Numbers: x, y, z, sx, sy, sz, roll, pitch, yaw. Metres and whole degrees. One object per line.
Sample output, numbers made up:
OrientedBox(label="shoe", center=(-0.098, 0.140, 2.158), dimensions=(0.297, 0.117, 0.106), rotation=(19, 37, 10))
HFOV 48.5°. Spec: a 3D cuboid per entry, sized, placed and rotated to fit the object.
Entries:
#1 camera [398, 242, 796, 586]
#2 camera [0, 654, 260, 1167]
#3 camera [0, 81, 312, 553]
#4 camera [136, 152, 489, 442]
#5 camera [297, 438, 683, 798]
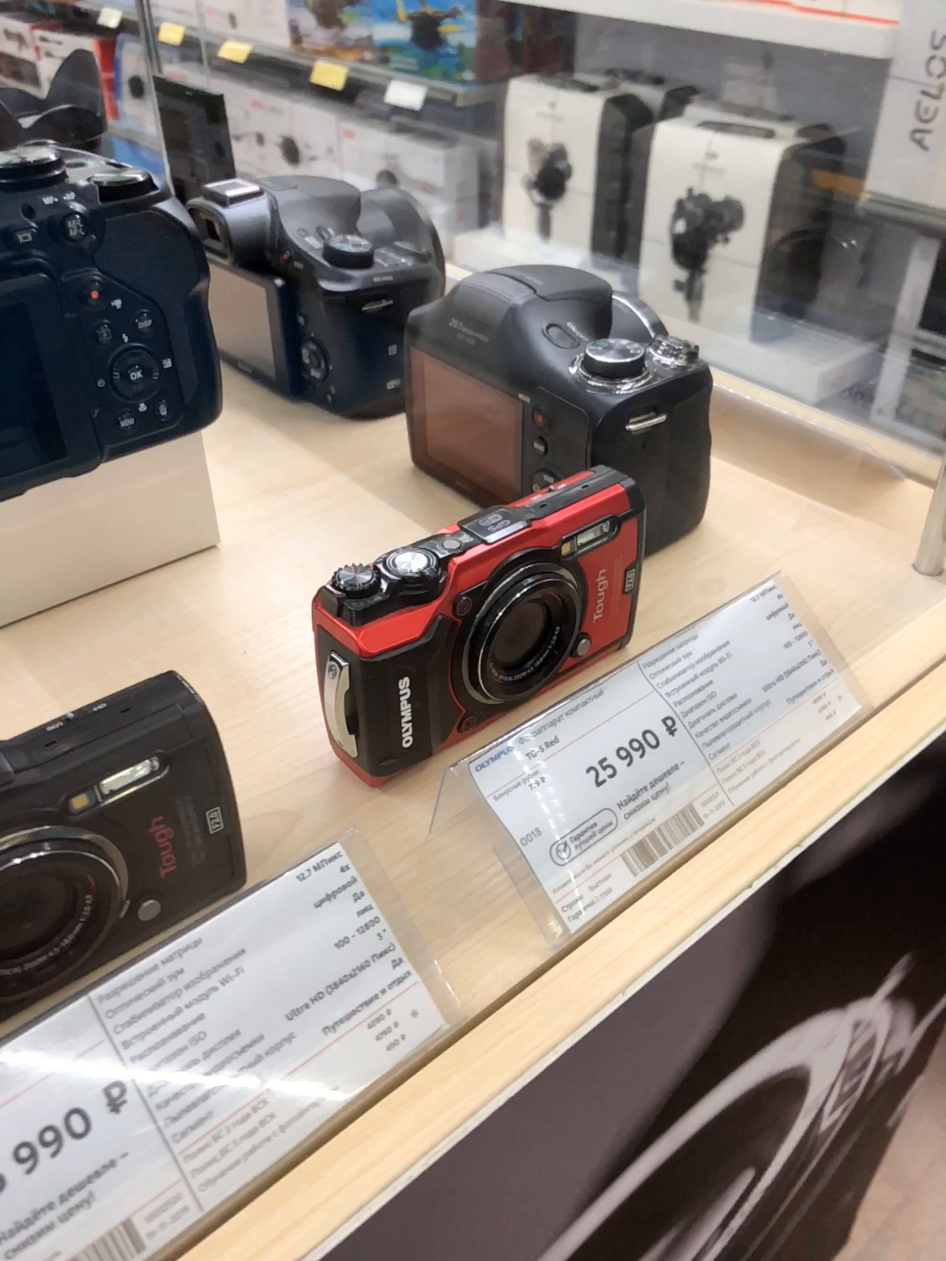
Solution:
OrientedBox(label="camera", center=(0.045, -0.092, 0.417), dimensions=(0.094, 0.078, 0.117), rotation=(-26, 44, -30))
OrientedBox(label="camera", center=(-0.112, 0.060, 0.244), dimensions=(0.117, 0.061, 0.030), rotation=(-27, 44, -31))
OrientedBox(label="camera", center=(-0.153, -0.113, 0.341), dimensions=(0.147, 0.086, 0.127), rotation=(-26, 44, -30))
OrientedBox(label="camera", center=(-0.082, -0.179, 0.542), dimensions=(0.103, 0.086, 0.159), rotation=(-27, 44, -31))
OrientedBox(label="camera", center=(0.009, -0.007, 0.316), dimensions=(0.119, 0.061, 0.030), rotation=(-27, 44, -31))
